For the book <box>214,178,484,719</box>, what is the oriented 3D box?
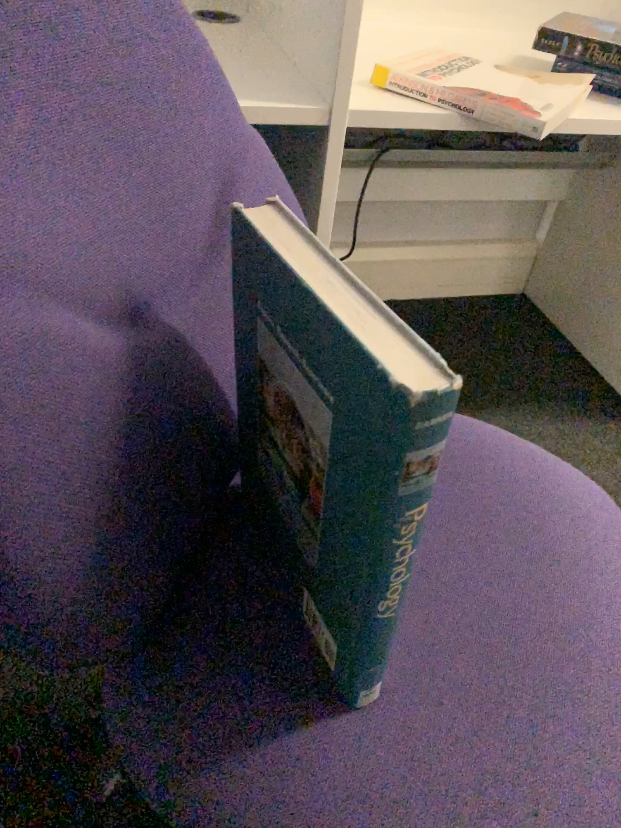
[{"bbox_3d":[-0.006,0.027,0.442,0.040,0.287,0.244,-14,45,-21],"label":"book"}]
